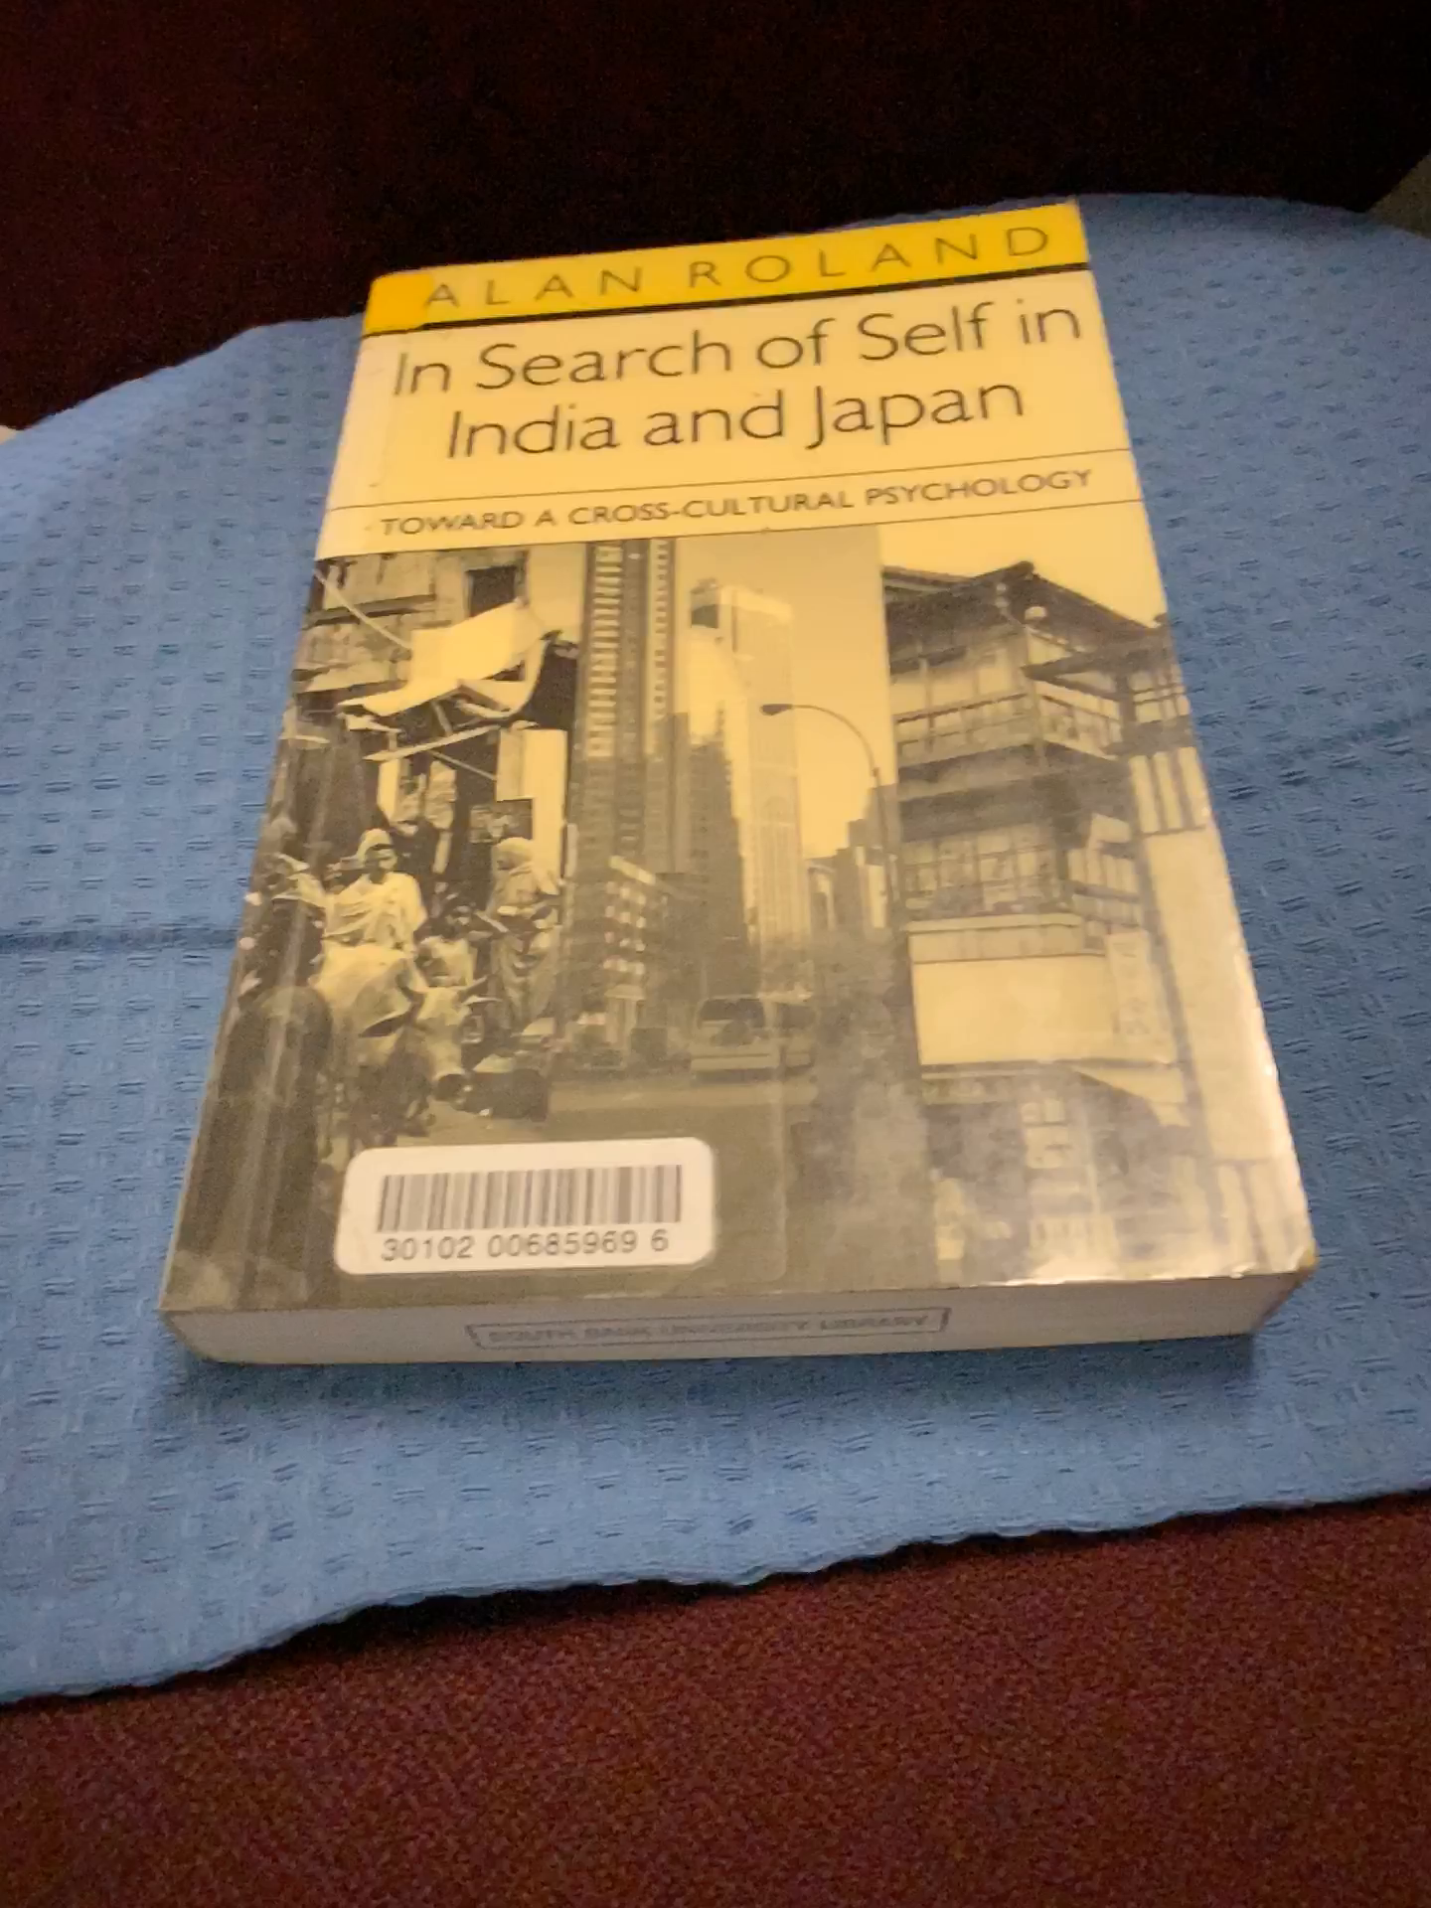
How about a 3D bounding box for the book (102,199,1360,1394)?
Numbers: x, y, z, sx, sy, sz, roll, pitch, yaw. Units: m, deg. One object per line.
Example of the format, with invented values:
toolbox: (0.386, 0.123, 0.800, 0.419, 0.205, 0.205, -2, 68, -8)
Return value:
book: (0.001, -0.046, 0.260, 0.155, 0.032, 0.234, -3, 56, 5)
